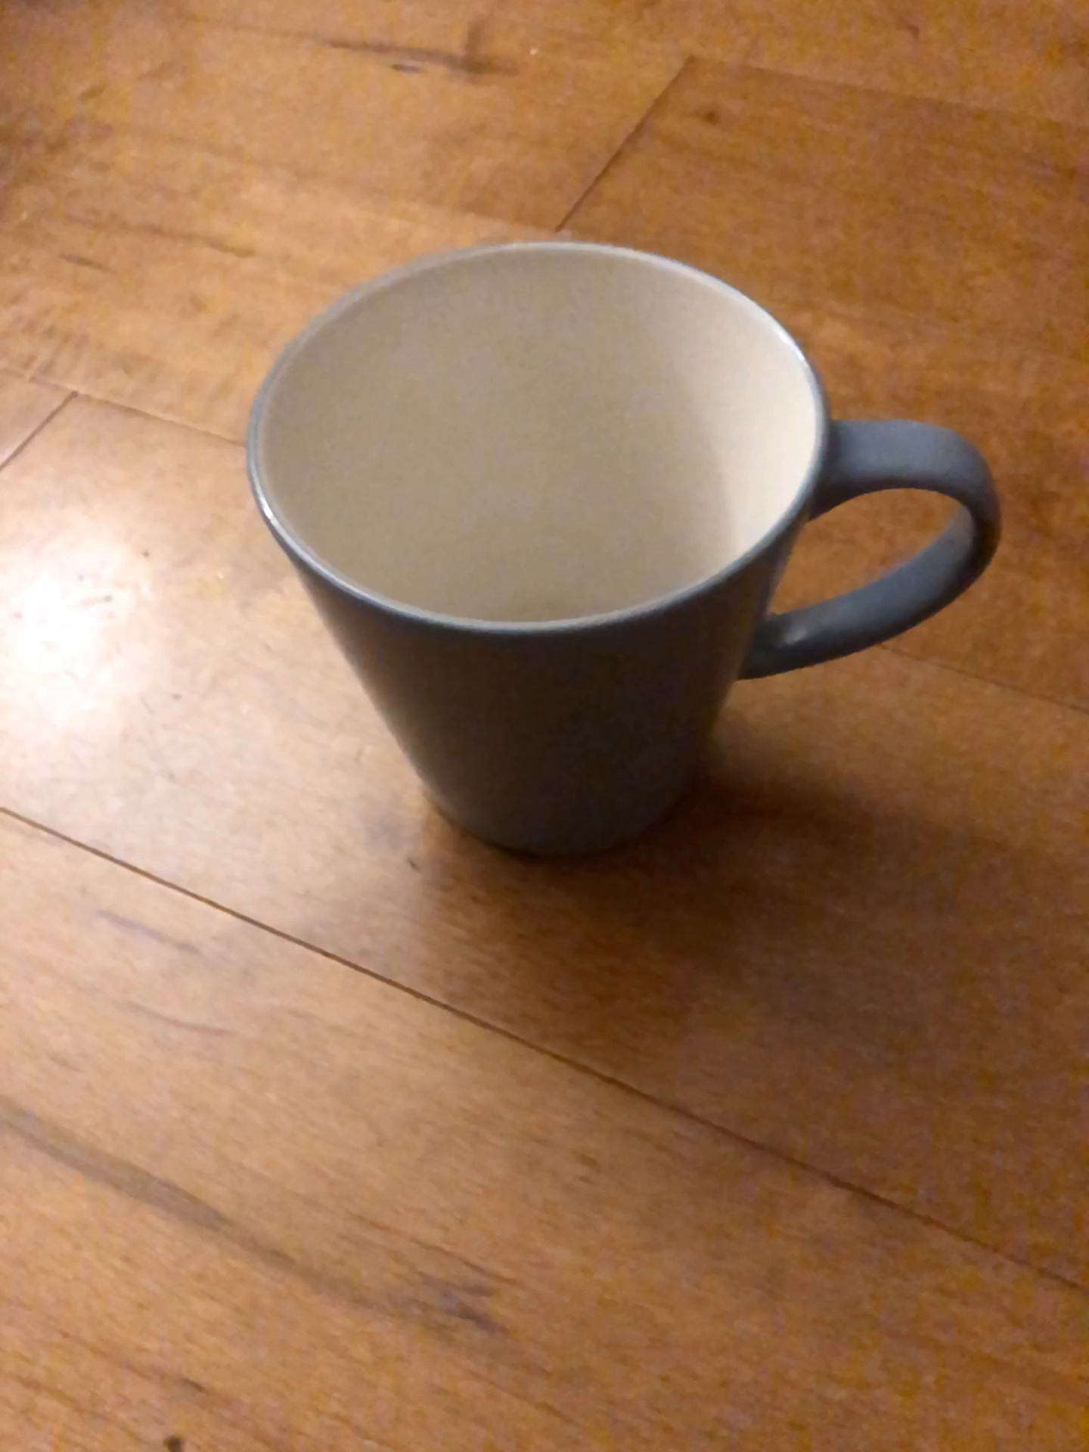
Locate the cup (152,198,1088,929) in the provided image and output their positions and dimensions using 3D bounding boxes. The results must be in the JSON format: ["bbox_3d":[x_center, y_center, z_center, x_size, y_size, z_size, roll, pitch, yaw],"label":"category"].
[{"bbox_3d":[0.015,-0.028,0.244,0.140,0.099,0.101,-2,55,3],"label":"cup"}]
